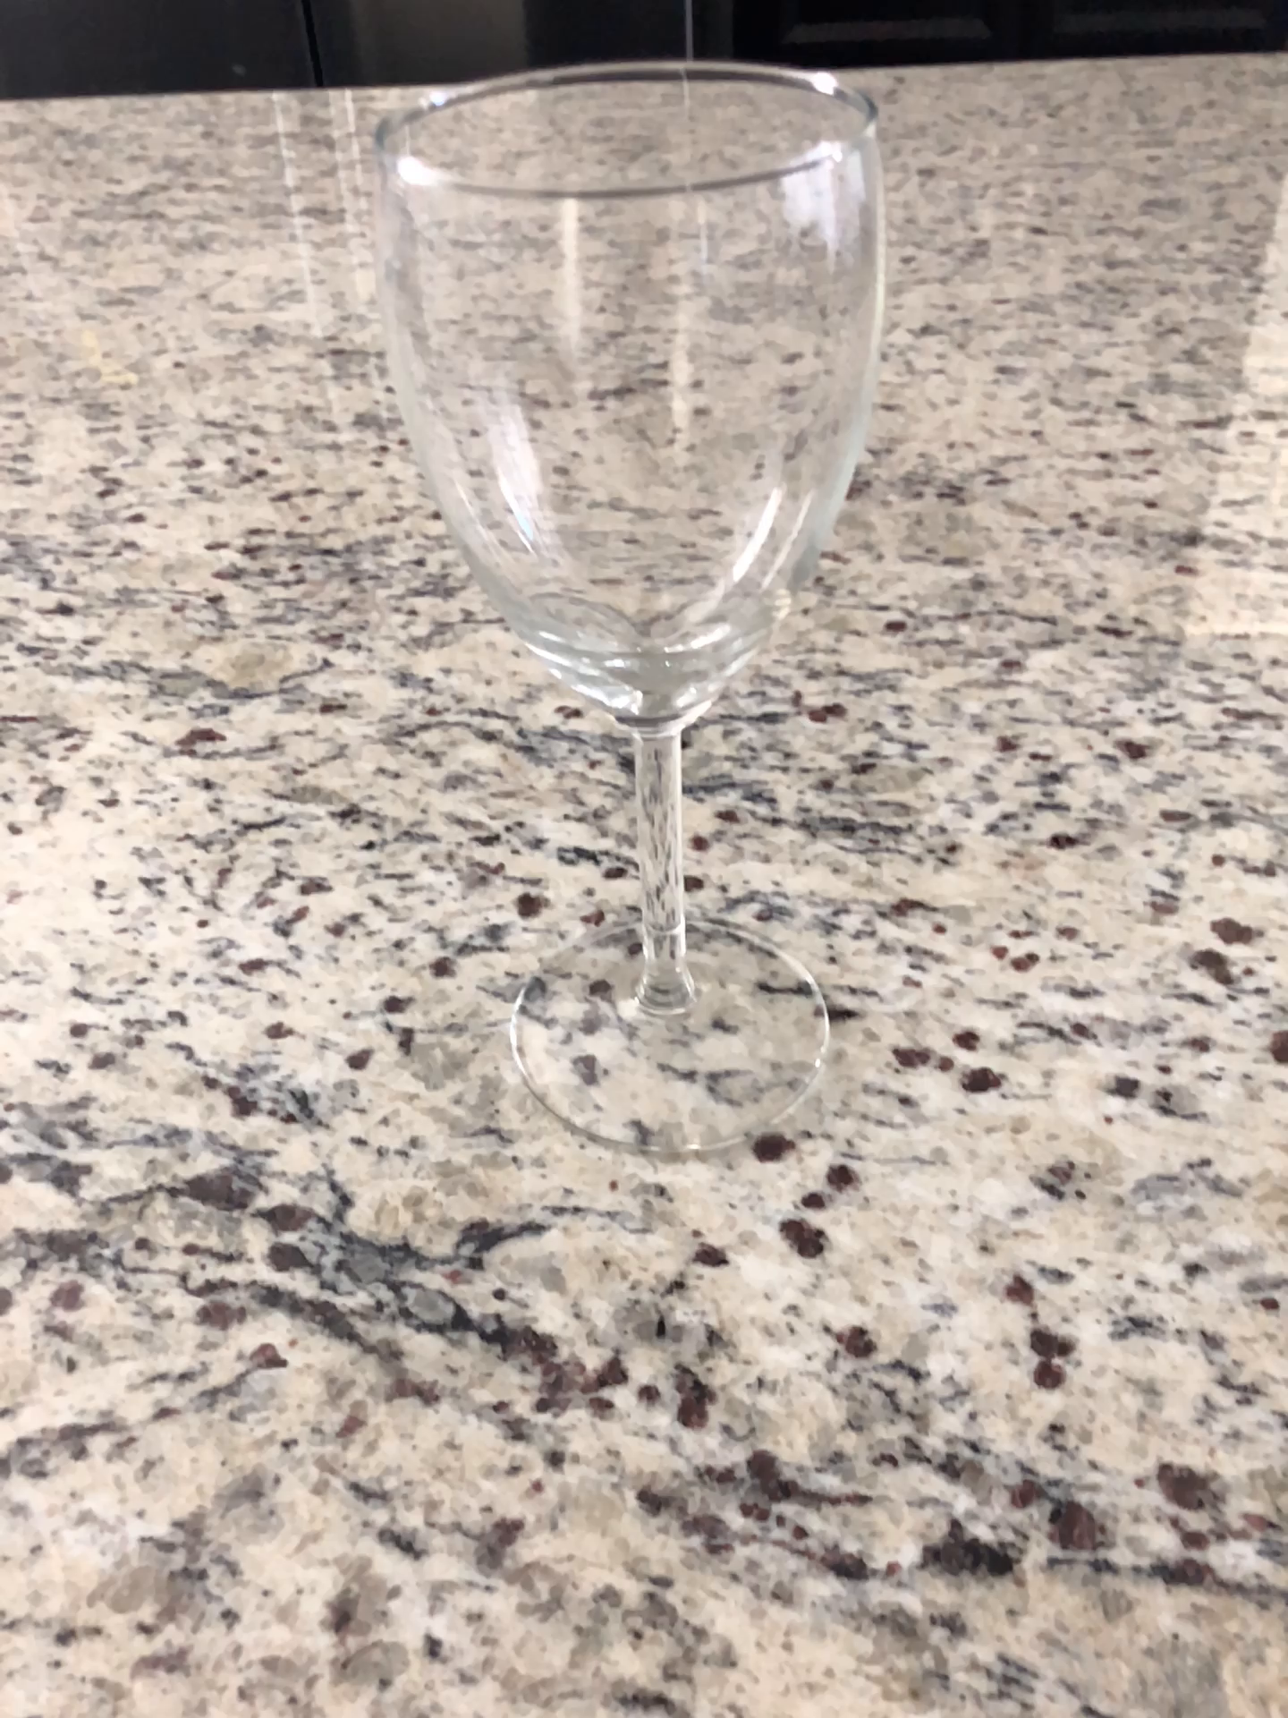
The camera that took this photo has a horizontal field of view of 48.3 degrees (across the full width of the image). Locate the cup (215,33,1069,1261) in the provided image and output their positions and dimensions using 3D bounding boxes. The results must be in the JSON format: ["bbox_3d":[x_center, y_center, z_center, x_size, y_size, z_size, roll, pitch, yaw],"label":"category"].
[{"bbox_3d":[0.006,-0.032,0.238,0.080,0.169,0.081,-2,38,1],"label":"cup"}]
